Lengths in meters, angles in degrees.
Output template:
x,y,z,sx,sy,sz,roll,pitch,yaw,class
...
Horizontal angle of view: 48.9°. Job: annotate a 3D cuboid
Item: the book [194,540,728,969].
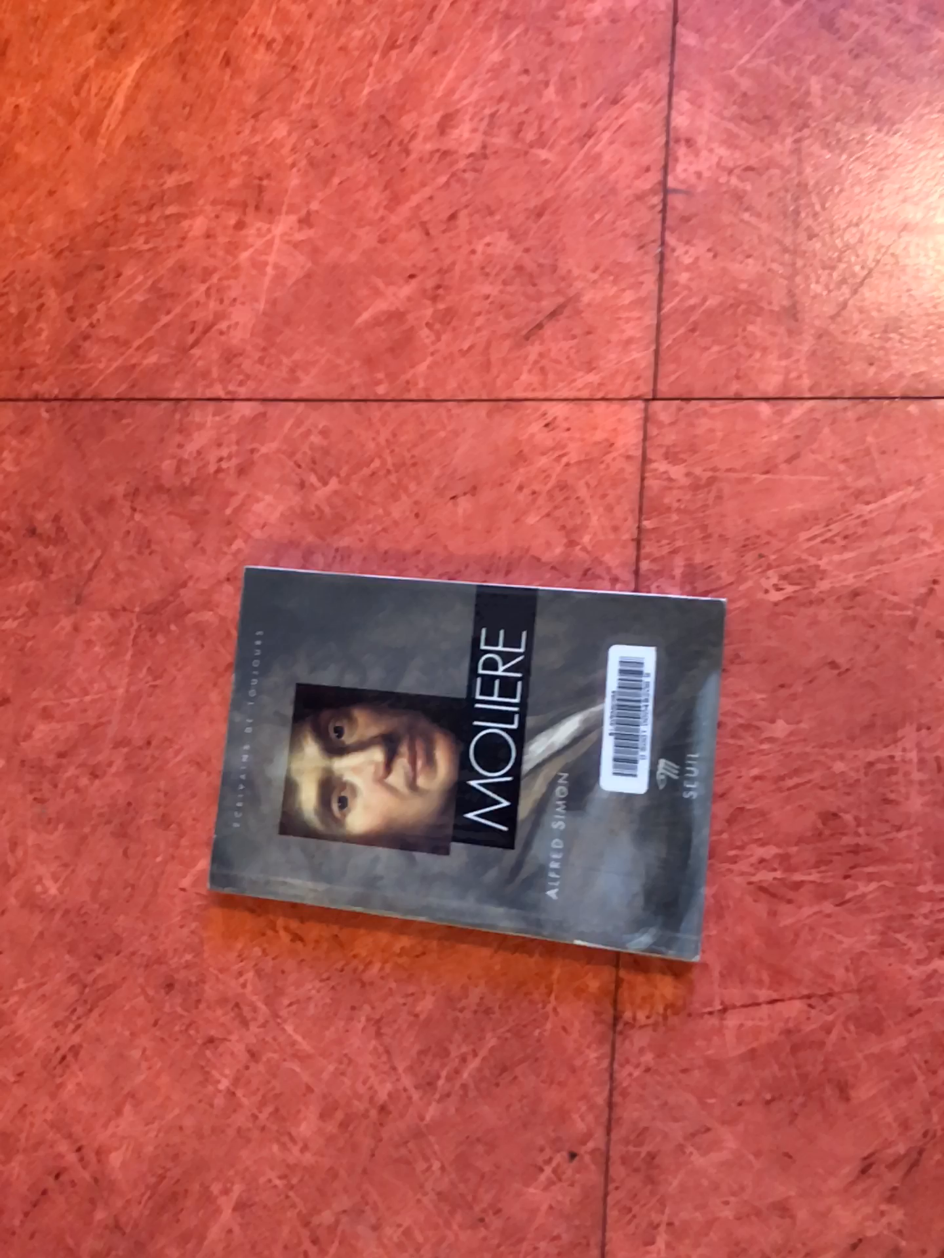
x,y,z,sx,sy,sz,roll,pitch,yaw,class
-0.006,0.040,0.375,0.183,0.015,0.134,4,85,13,book
